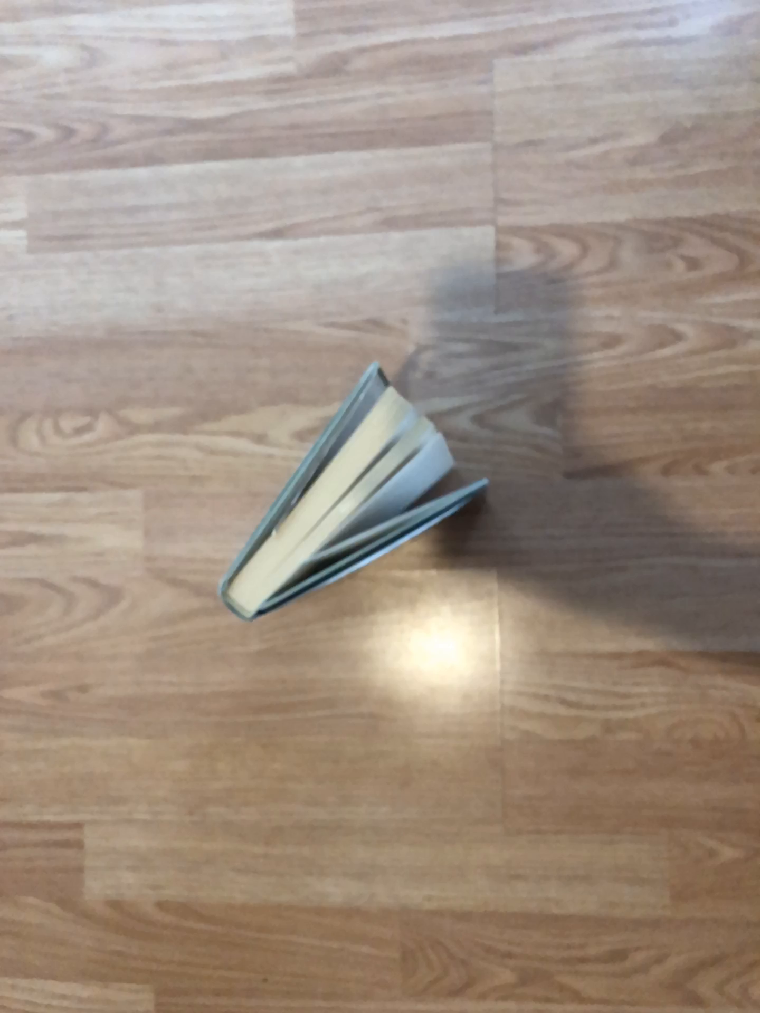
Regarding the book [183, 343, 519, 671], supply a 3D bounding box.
[{"bbox_3d":[-0.005,0.003,0.524,0.150,0.220,0.080,-42,86,3],"label":"book"}]
